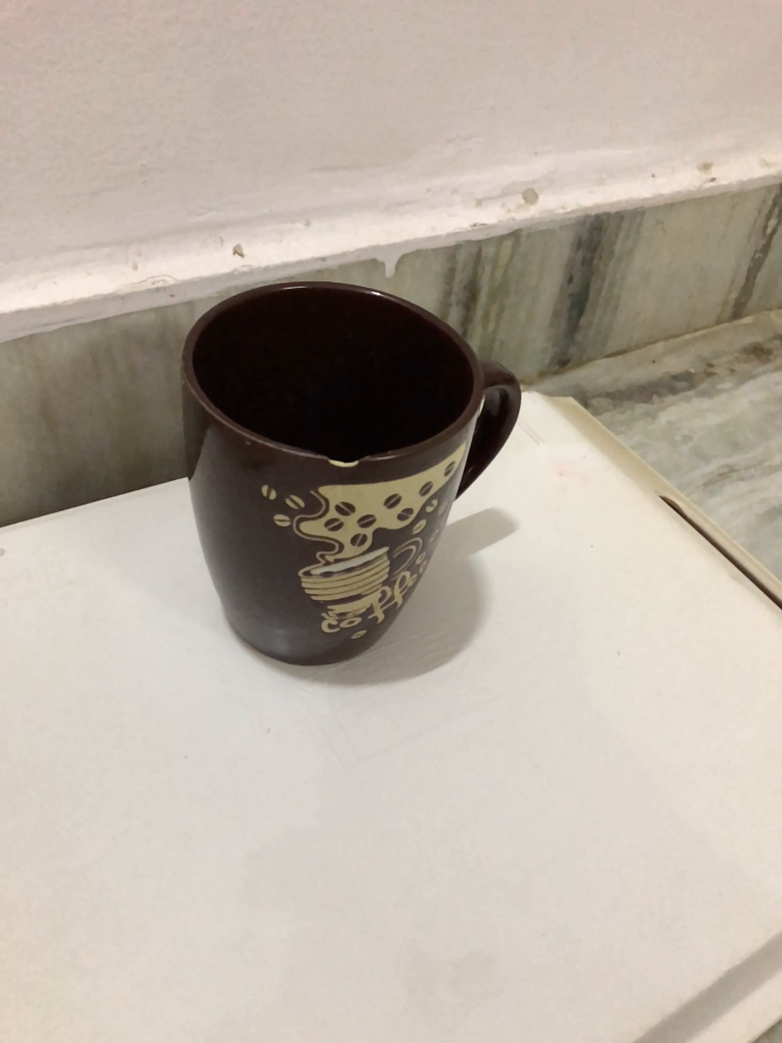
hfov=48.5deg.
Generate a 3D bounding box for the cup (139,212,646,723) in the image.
[{"bbox_3d":[-0.001,-0.021,0.265,0.121,0.099,0.070,-27,54,-33],"label":"cup"}]
